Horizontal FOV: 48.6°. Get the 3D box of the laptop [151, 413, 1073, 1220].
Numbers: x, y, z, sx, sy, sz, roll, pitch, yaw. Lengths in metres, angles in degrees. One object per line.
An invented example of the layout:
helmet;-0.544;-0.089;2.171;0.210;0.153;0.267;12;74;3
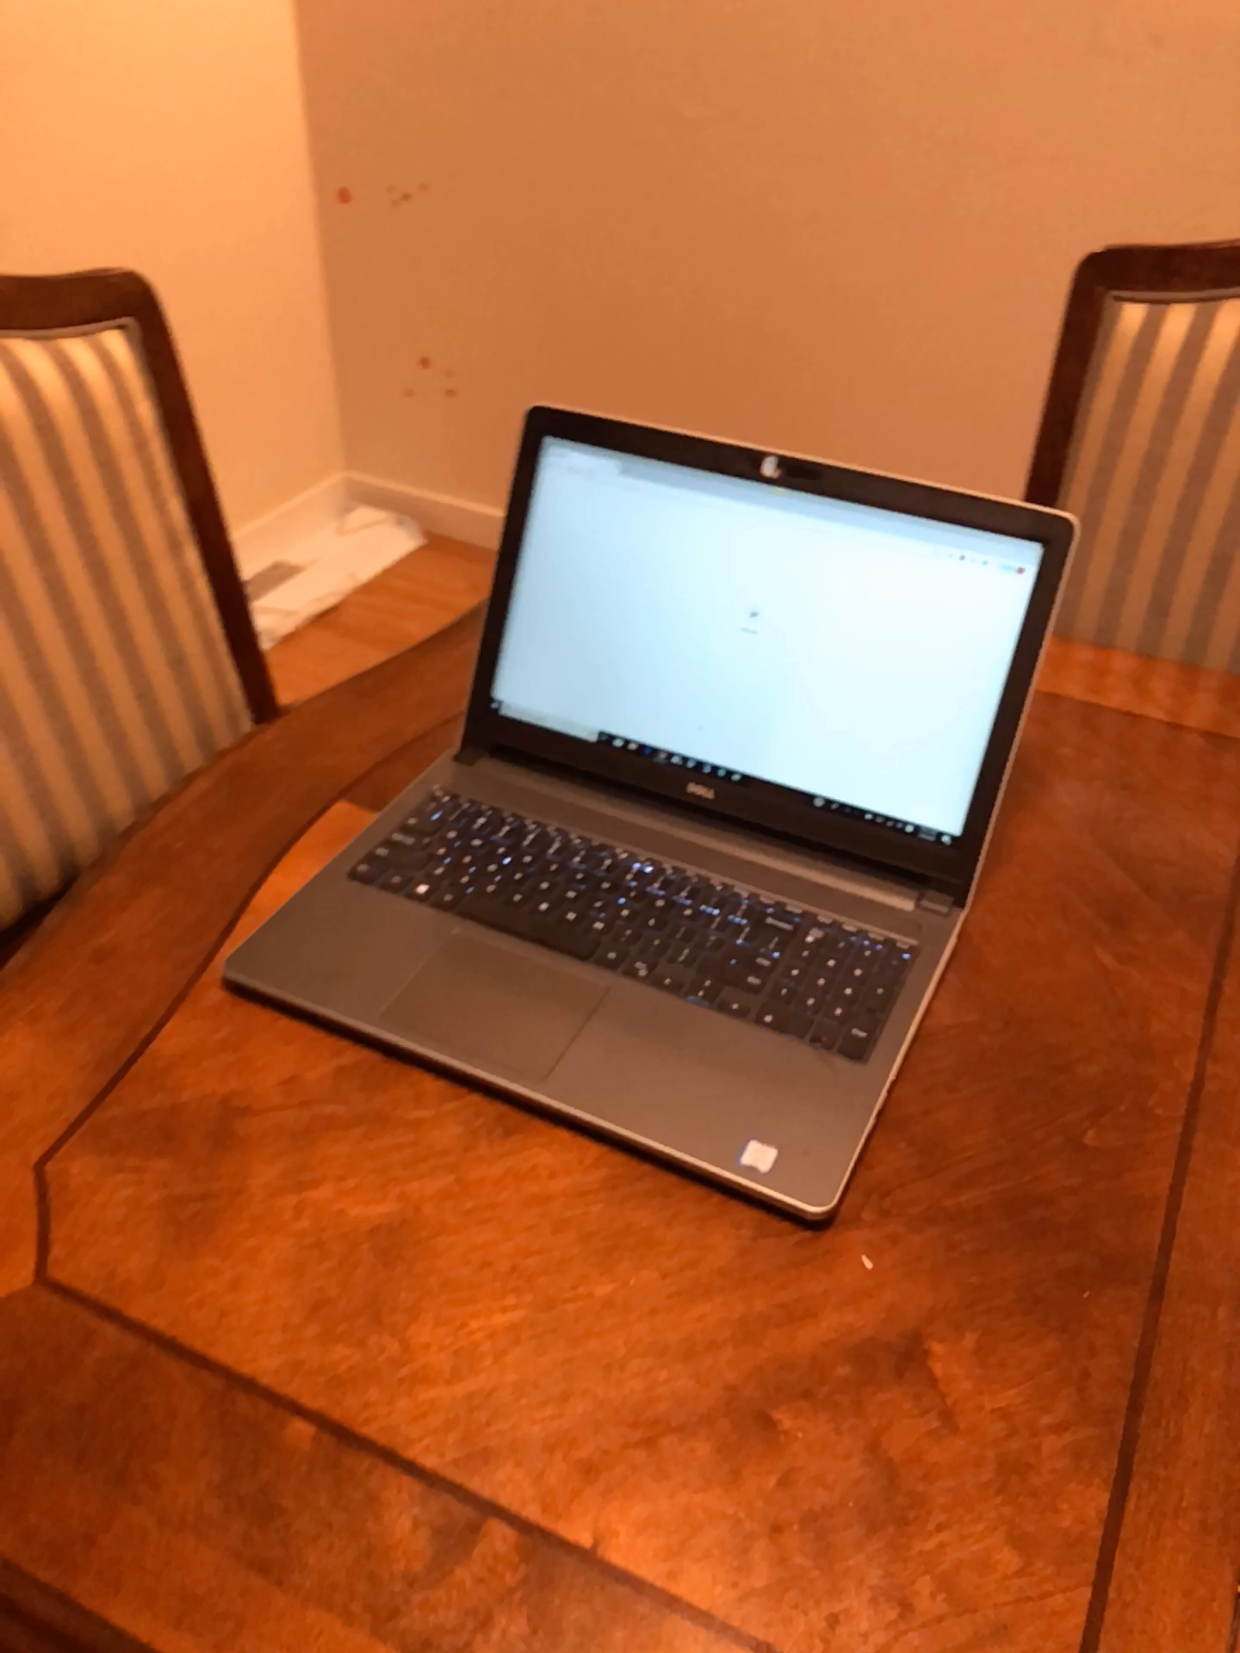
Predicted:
laptop;0.015;-0.044;0.795;0.369;0.212;0.361;18;40;21
